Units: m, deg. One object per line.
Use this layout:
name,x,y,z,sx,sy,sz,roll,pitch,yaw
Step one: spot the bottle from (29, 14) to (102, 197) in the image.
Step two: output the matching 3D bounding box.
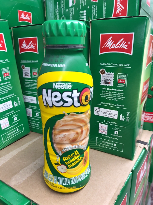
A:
bottle,-0.011,0.006,0.193,0.060,0.179,0.060,0,16,0
